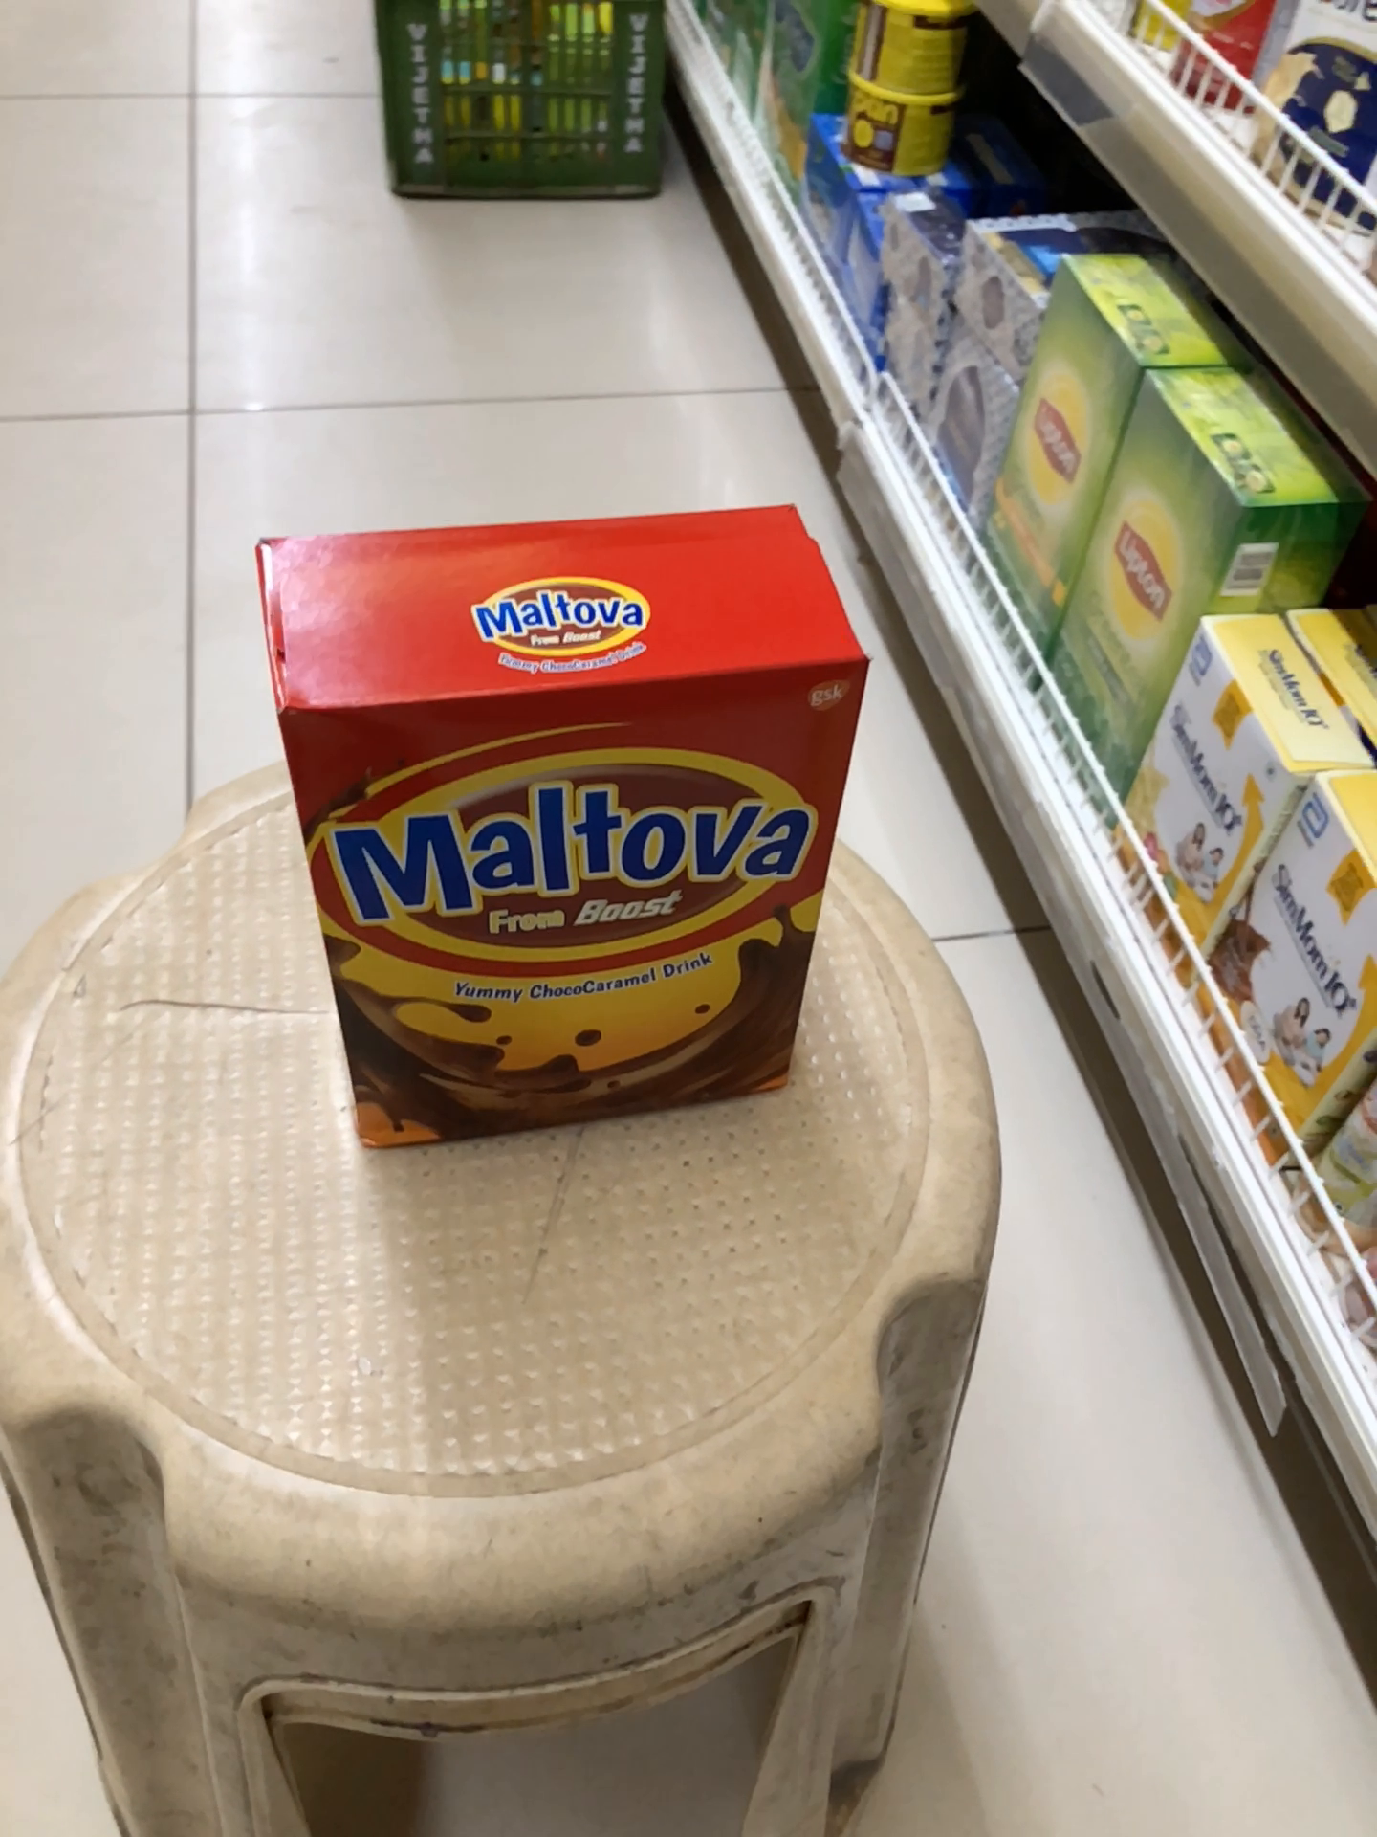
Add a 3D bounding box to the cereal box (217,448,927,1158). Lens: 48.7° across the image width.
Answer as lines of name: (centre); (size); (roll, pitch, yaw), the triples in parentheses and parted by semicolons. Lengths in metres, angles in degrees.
cereal box: (-0.035, -0.024, 0.411); (0.150, 0.179, 0.070); (-7, 50, -12)
